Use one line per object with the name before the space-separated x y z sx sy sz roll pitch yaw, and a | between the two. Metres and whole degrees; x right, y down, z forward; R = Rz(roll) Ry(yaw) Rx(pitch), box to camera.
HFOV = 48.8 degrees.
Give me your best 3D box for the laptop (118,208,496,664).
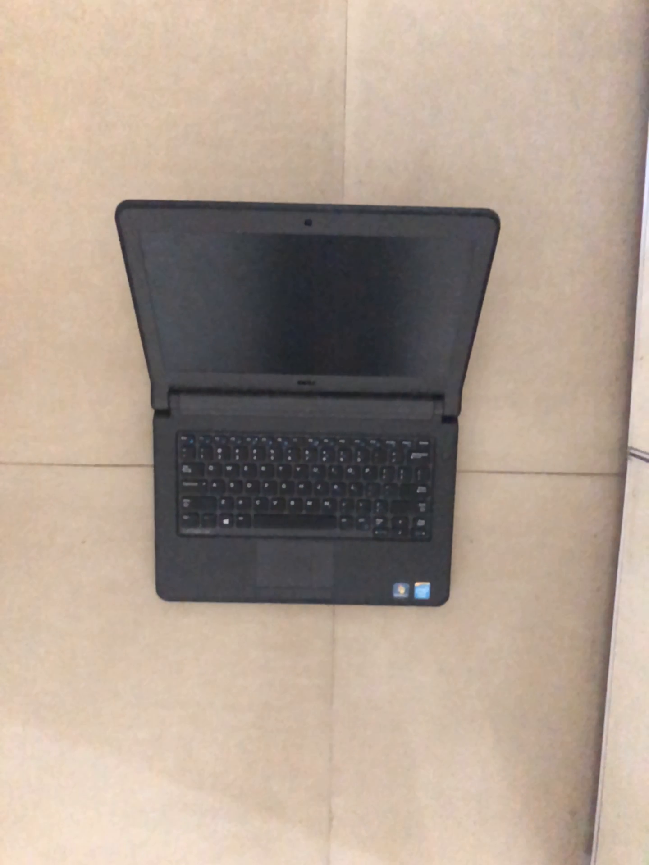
laptop | -0.020 0.002 0.695 0.312 0.154 0.392 1 98 0
